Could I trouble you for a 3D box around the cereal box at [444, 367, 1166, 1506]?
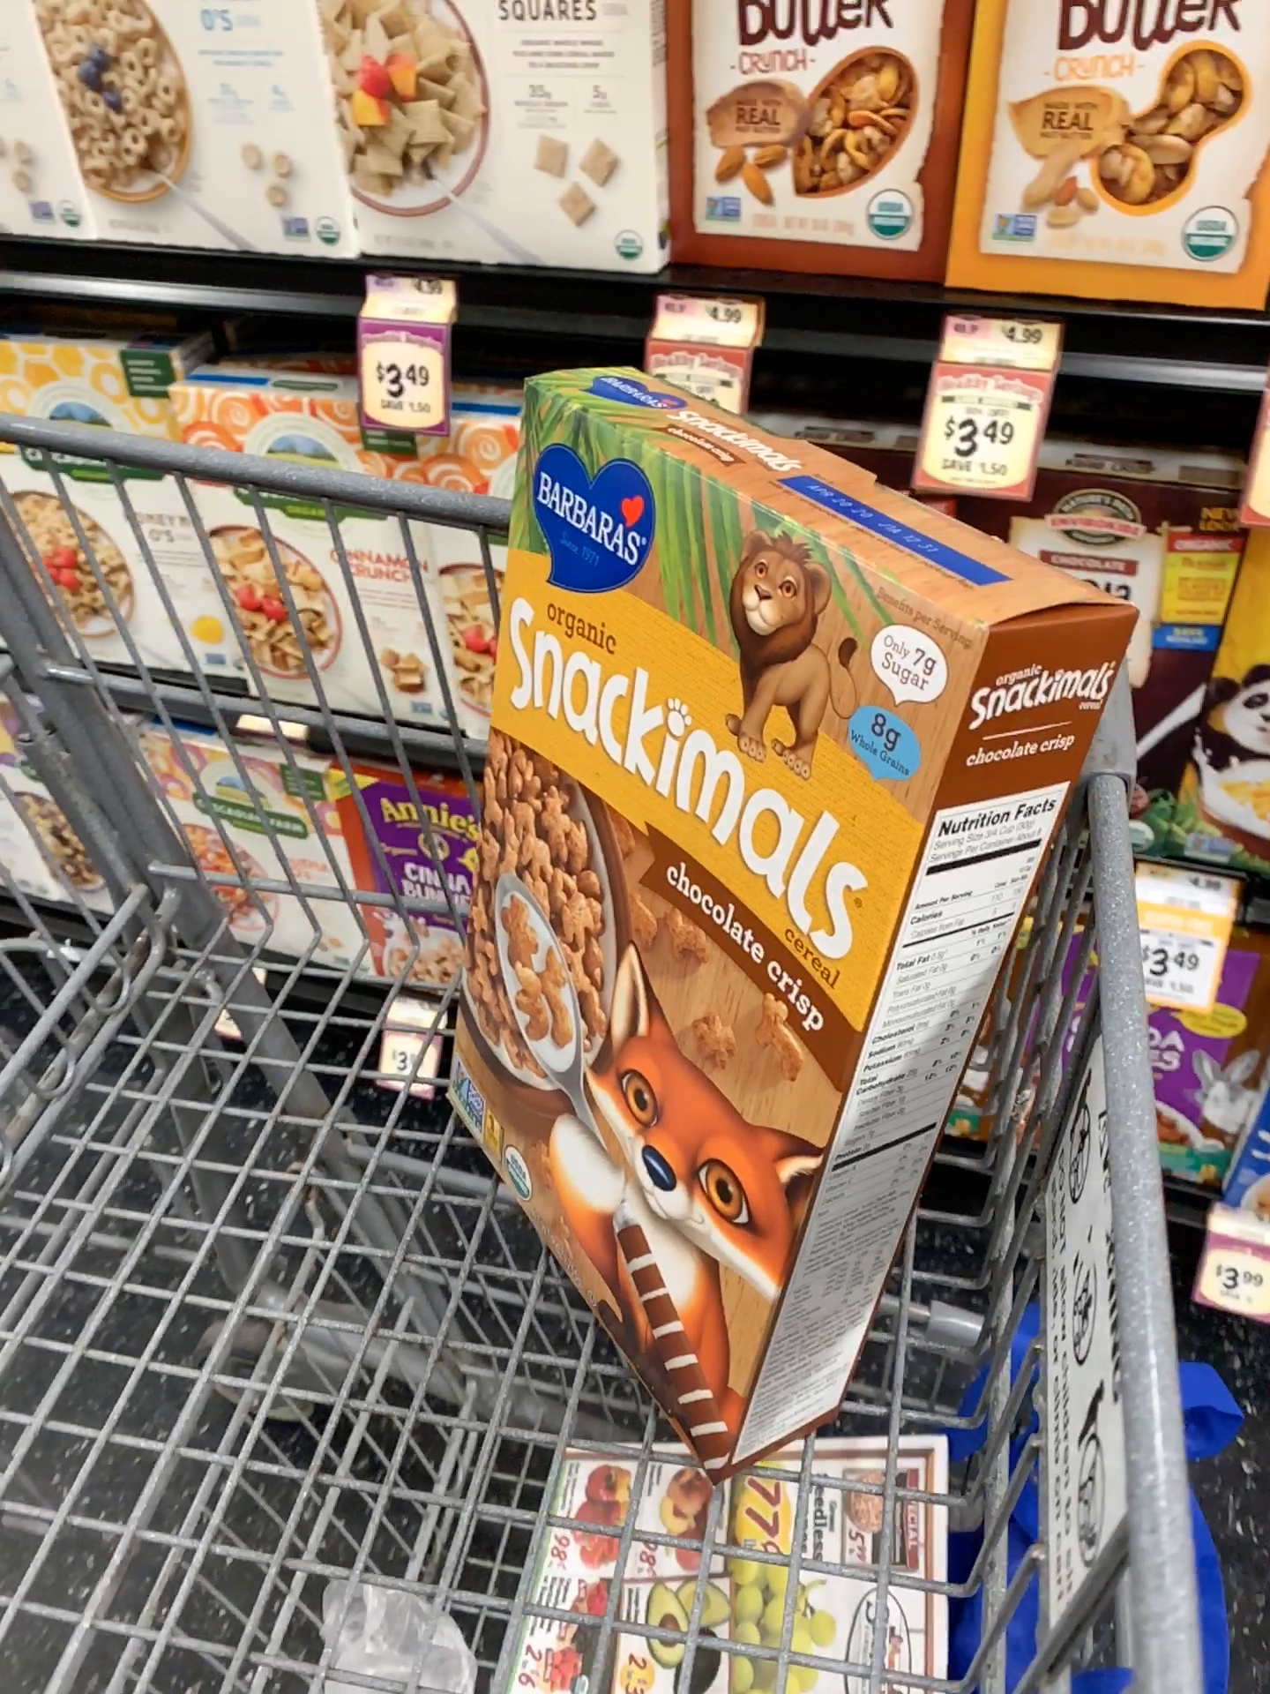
[{"bbox_3d":[0.017,0.024,0.377,0.050,0.269,0.181,-13,38,-32],"label":"cereal box"}]
